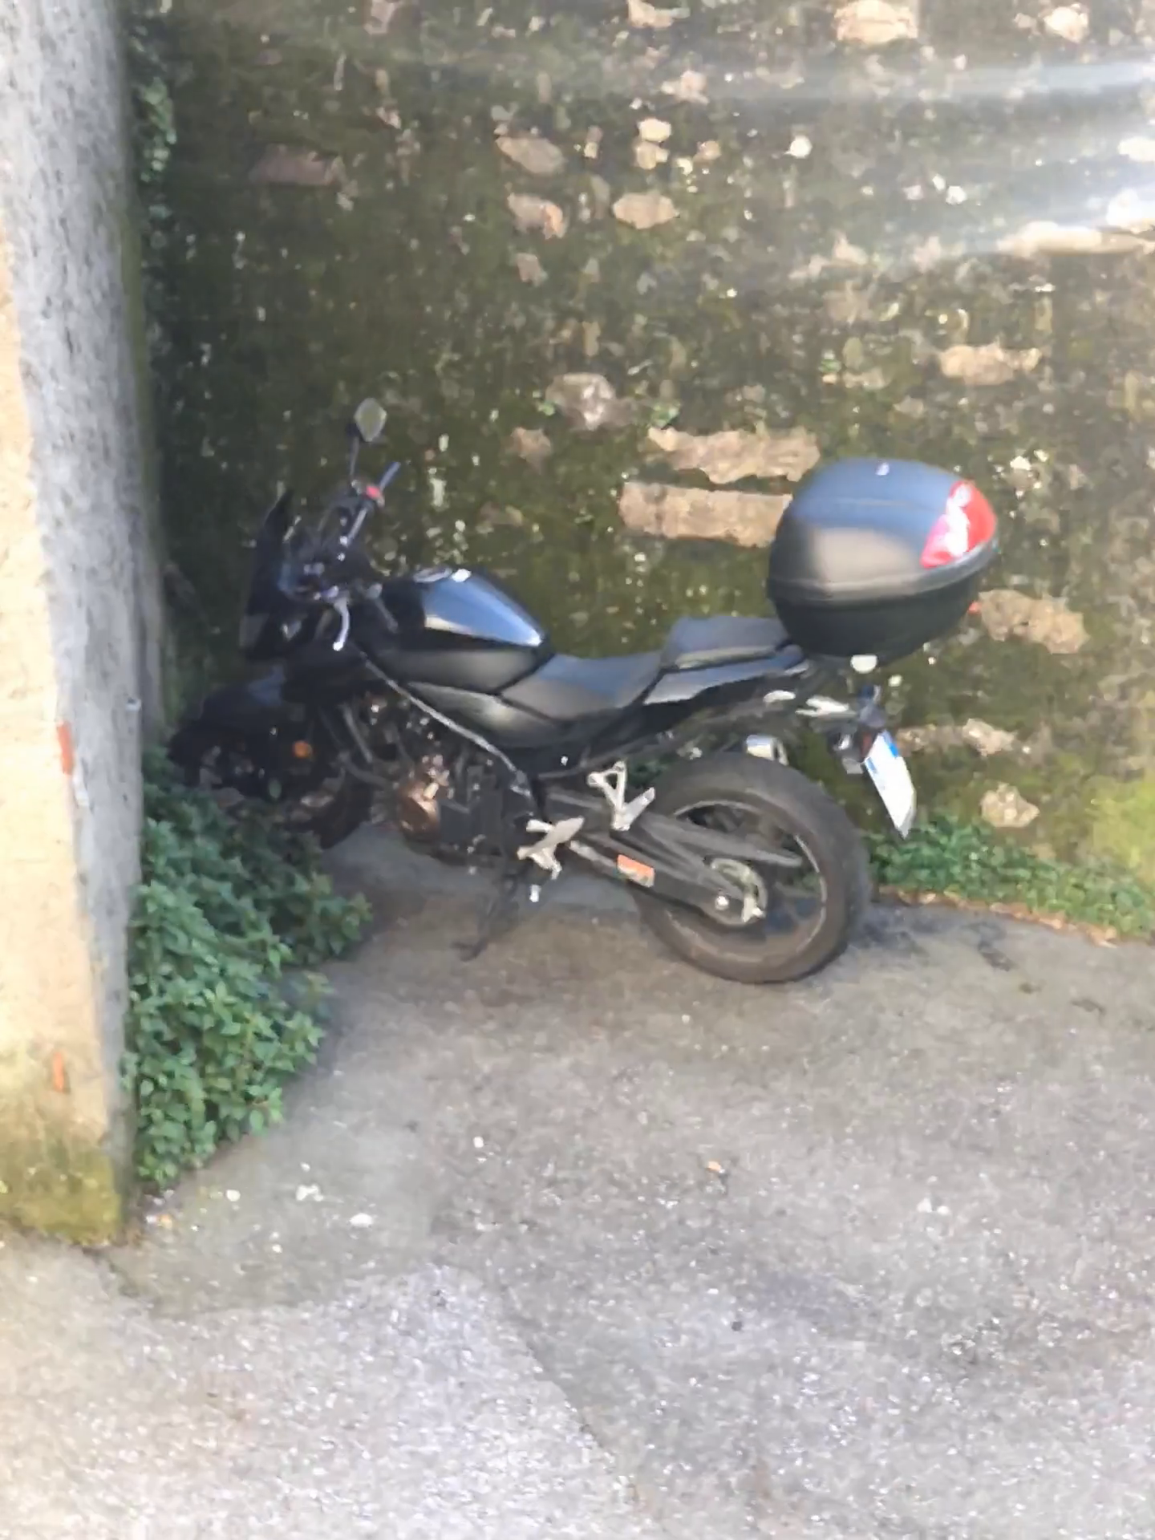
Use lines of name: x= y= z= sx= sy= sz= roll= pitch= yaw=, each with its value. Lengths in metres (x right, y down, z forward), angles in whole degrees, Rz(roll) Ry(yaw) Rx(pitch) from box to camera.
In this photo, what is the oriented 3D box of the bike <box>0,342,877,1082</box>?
bike: x=-0.293 y=-0.208 z=2.996 sx=1.783 sy=1.199 sz=0.713 roll=10 pitch=17 yaw=12
